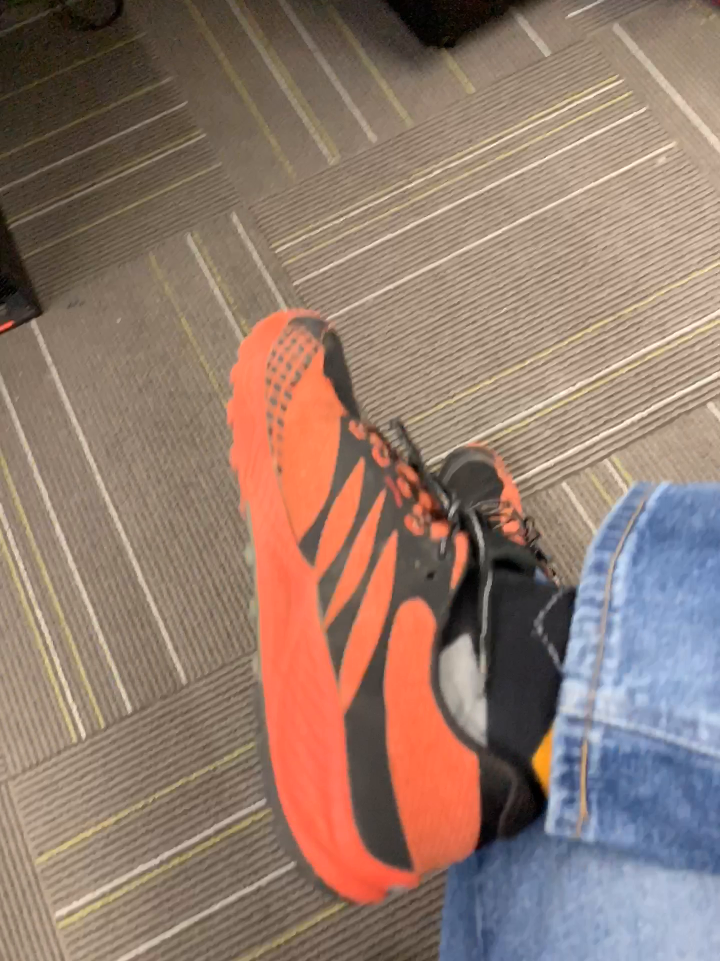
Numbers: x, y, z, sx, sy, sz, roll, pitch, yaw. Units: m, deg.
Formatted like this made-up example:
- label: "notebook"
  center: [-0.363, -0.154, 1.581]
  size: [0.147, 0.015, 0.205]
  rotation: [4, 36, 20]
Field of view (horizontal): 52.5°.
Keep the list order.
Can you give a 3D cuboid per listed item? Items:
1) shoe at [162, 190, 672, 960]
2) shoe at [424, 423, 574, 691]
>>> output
- label: "shoe"
  center: [0.014, 0.037, 0.371]
  size: [0.146, 0.111, 0.321]
  rotation: [-17, 70, 6]
- label: "shoe"
  center: [0.169, 0.094, 0.929]
  size: [0.117, 0.068, 0.319]
  rotation: [-8, 71, -2]
